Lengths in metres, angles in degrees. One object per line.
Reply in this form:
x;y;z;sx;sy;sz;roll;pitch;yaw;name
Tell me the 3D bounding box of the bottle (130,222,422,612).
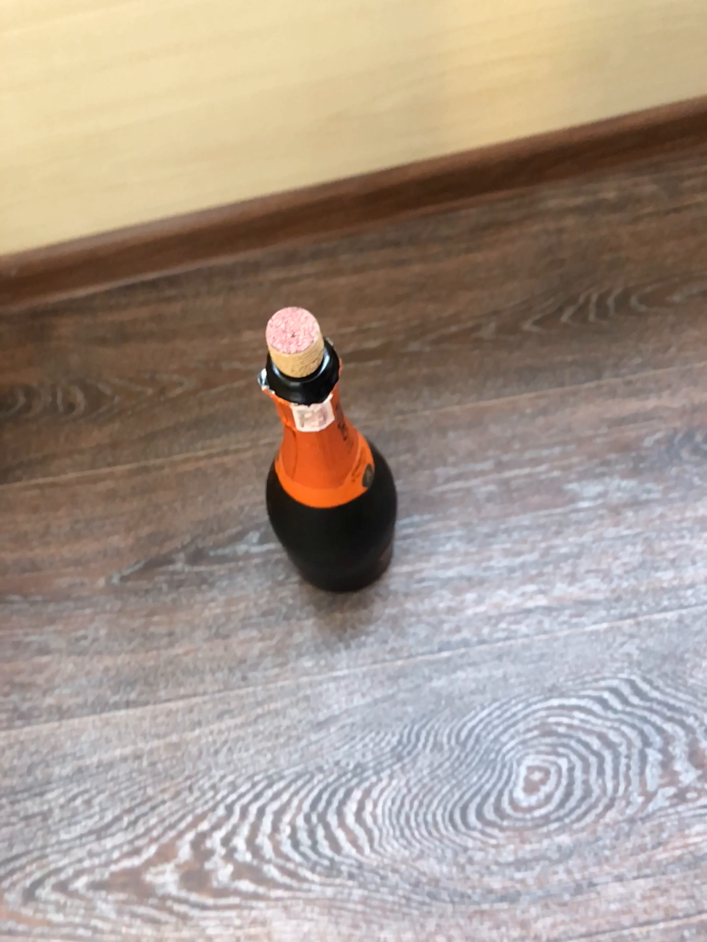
-0.018;0.000;0.473;0.100;0.329;0.093;-1;69;4;bottle
